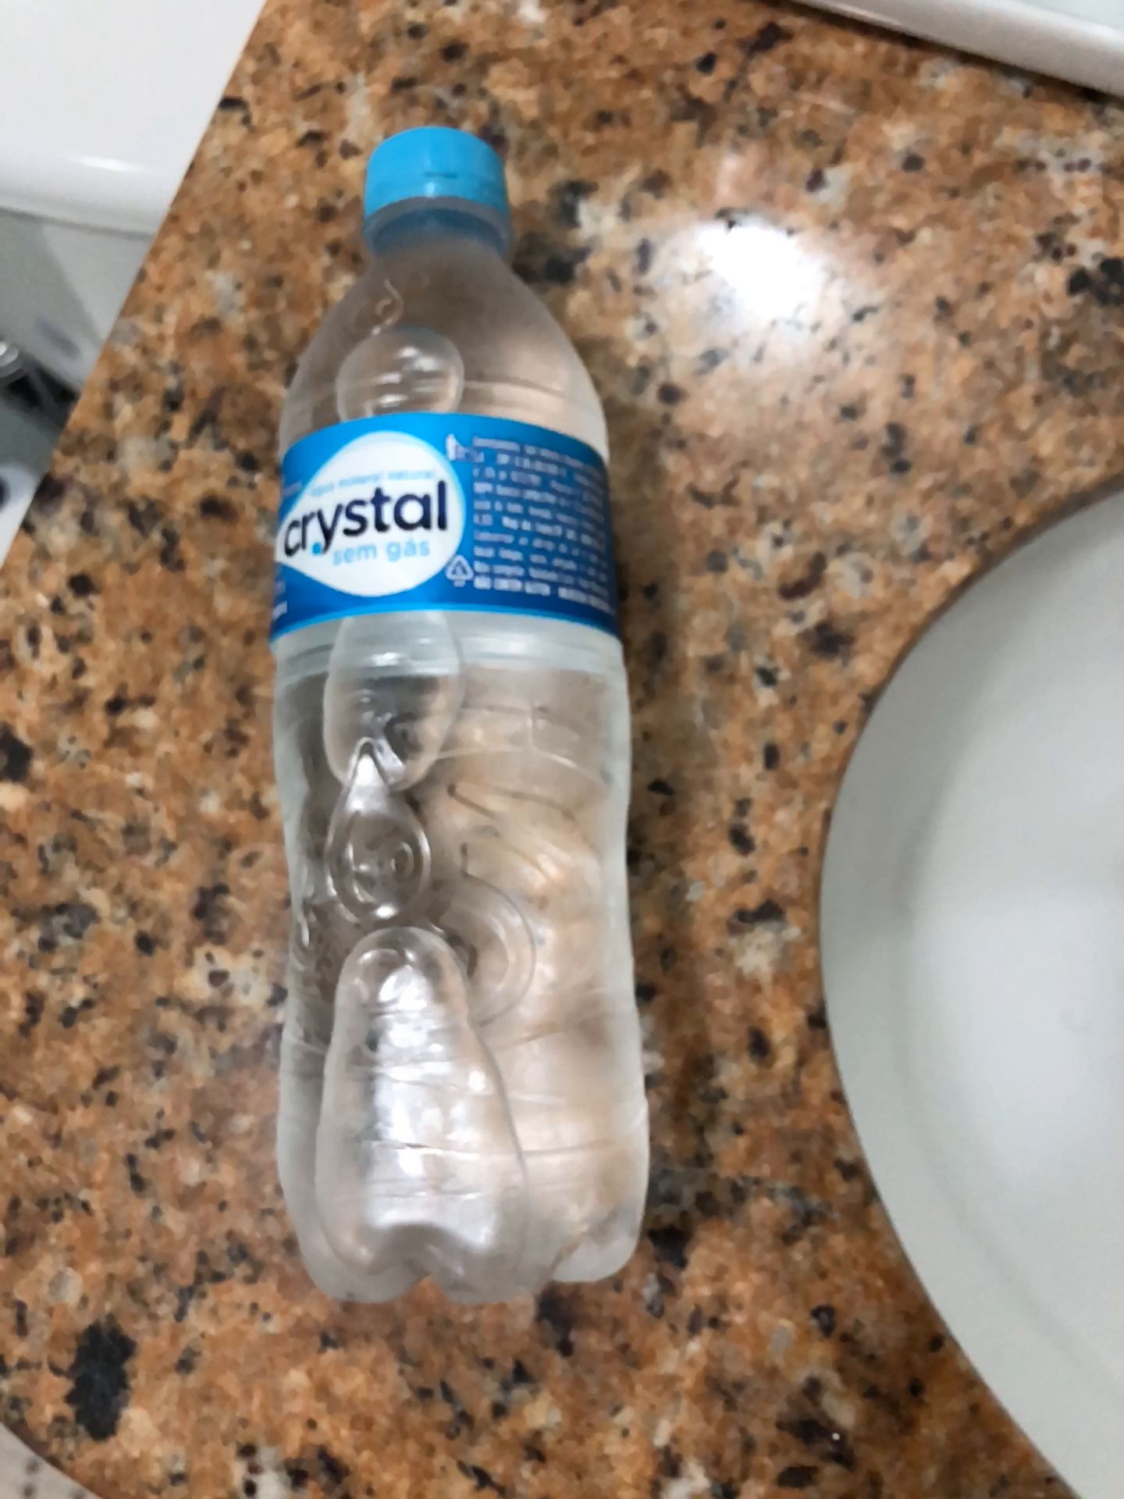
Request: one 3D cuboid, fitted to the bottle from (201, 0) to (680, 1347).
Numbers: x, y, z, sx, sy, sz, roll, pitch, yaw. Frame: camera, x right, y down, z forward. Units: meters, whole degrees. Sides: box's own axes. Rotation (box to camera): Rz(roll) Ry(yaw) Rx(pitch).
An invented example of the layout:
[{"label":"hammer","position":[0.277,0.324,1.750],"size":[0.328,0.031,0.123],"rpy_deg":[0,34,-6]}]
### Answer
[{"label":"bottle","position":[-0.023,-0.019,0.237],"size":[0.070,0.050,0.230],"rpy_deg":[-5,78,8]}]
